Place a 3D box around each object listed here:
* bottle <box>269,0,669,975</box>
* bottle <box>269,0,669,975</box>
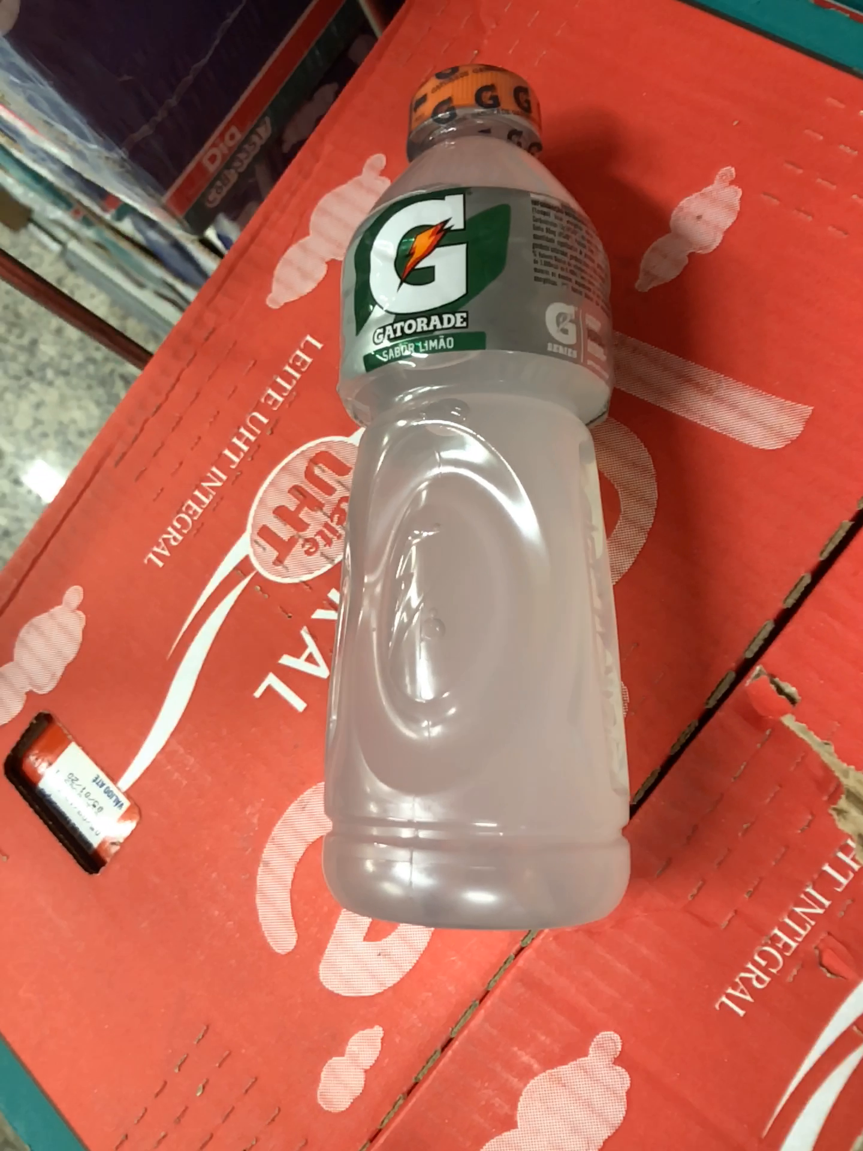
[{"bbox_3d":[0.012,-0.026,0.226,0.070,0.060,0.210,-4,77,19],"label":"bottle"},{"bbox_3d":[0.012,-0.026,0.226,0.070,0.060,0.210,-4,77,19],"label":"bottle"}]
